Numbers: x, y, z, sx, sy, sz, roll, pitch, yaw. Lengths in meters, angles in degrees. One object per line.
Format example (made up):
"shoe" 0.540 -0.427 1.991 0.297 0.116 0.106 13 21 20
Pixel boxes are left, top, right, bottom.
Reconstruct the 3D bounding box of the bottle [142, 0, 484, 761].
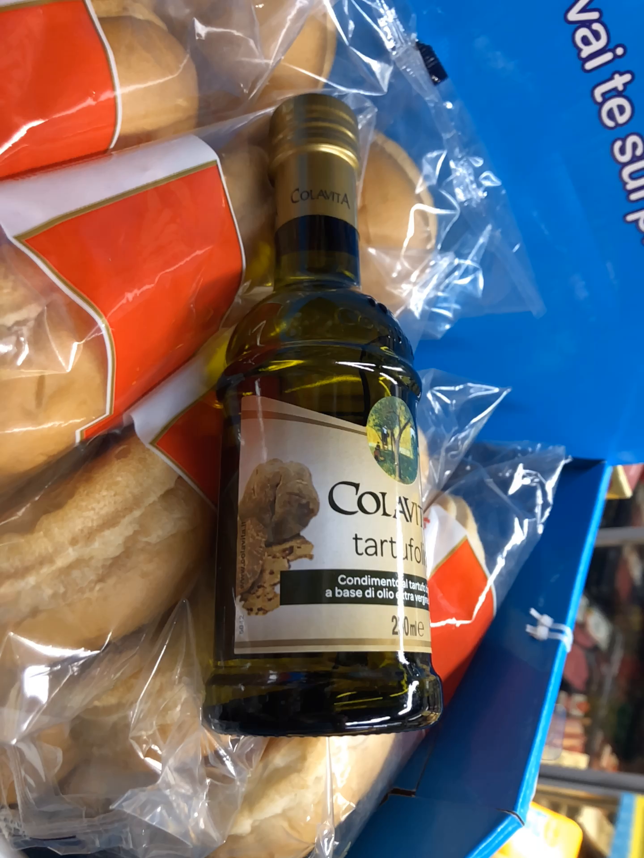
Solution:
"bottle" 0.001 -0.021 0.221 0.070 0.060 0.210 17 68 -45
